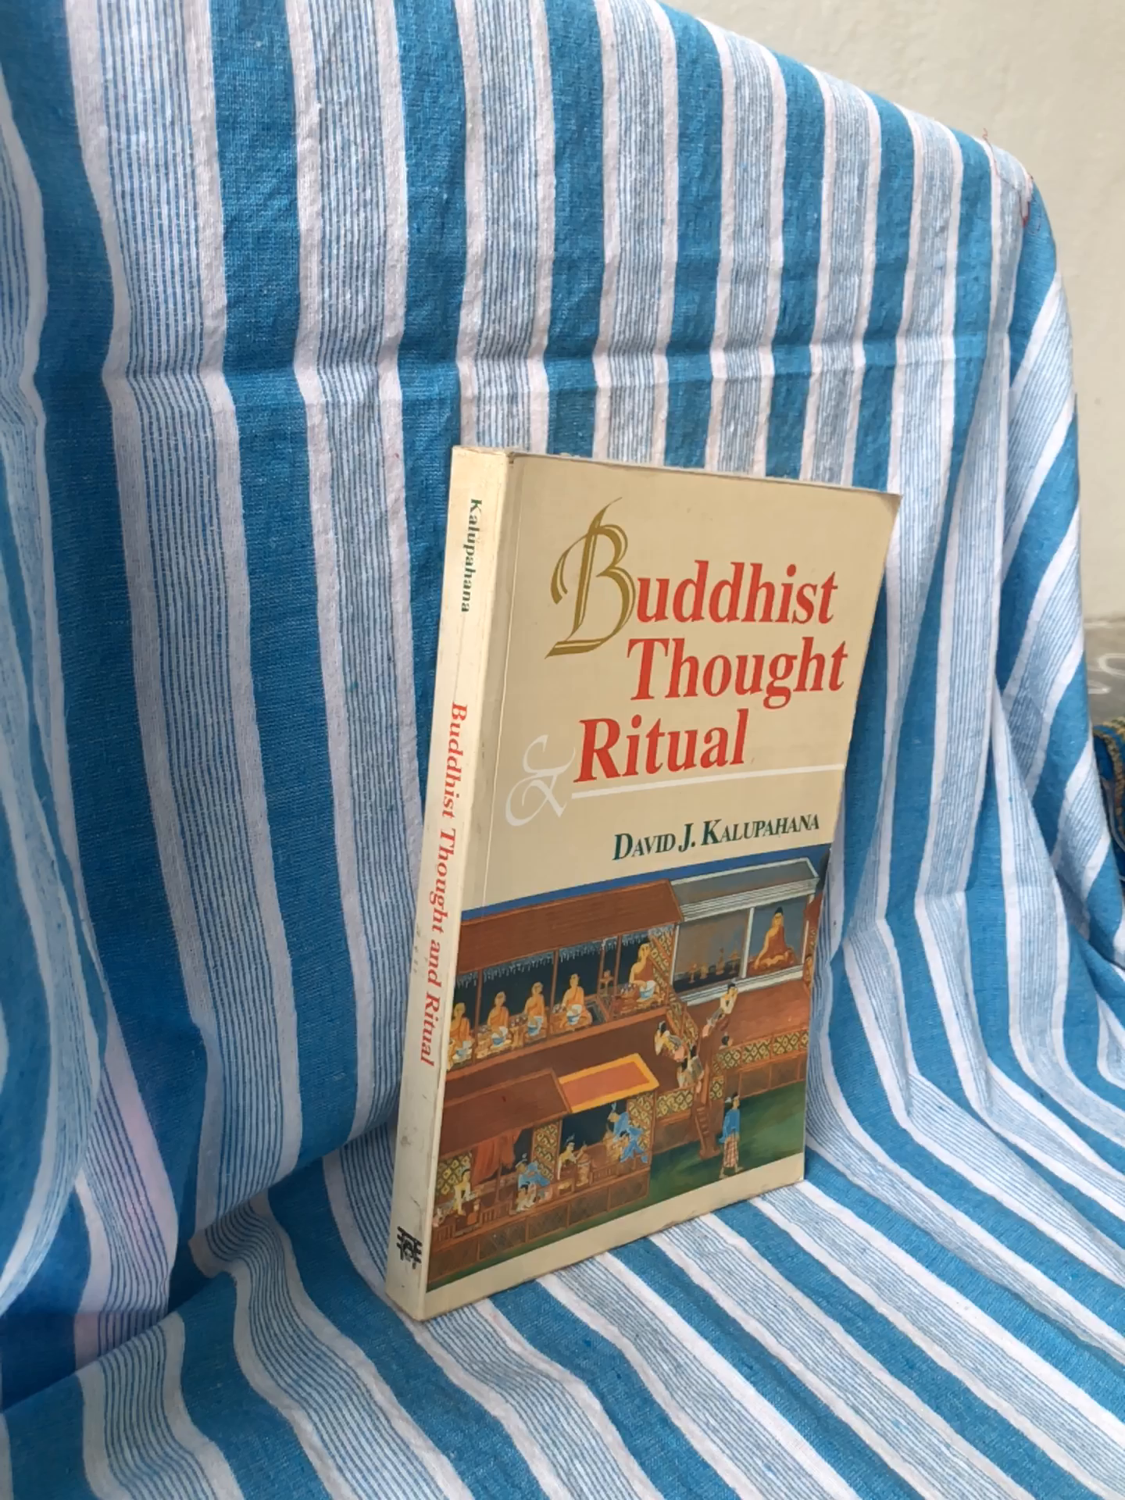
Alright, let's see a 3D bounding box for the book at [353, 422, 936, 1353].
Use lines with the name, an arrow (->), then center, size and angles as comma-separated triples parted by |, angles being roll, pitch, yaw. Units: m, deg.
book -> 0.025, 0.034, 0.334 | 0.151, 0.219, 0.020 | -4, 17, -39
